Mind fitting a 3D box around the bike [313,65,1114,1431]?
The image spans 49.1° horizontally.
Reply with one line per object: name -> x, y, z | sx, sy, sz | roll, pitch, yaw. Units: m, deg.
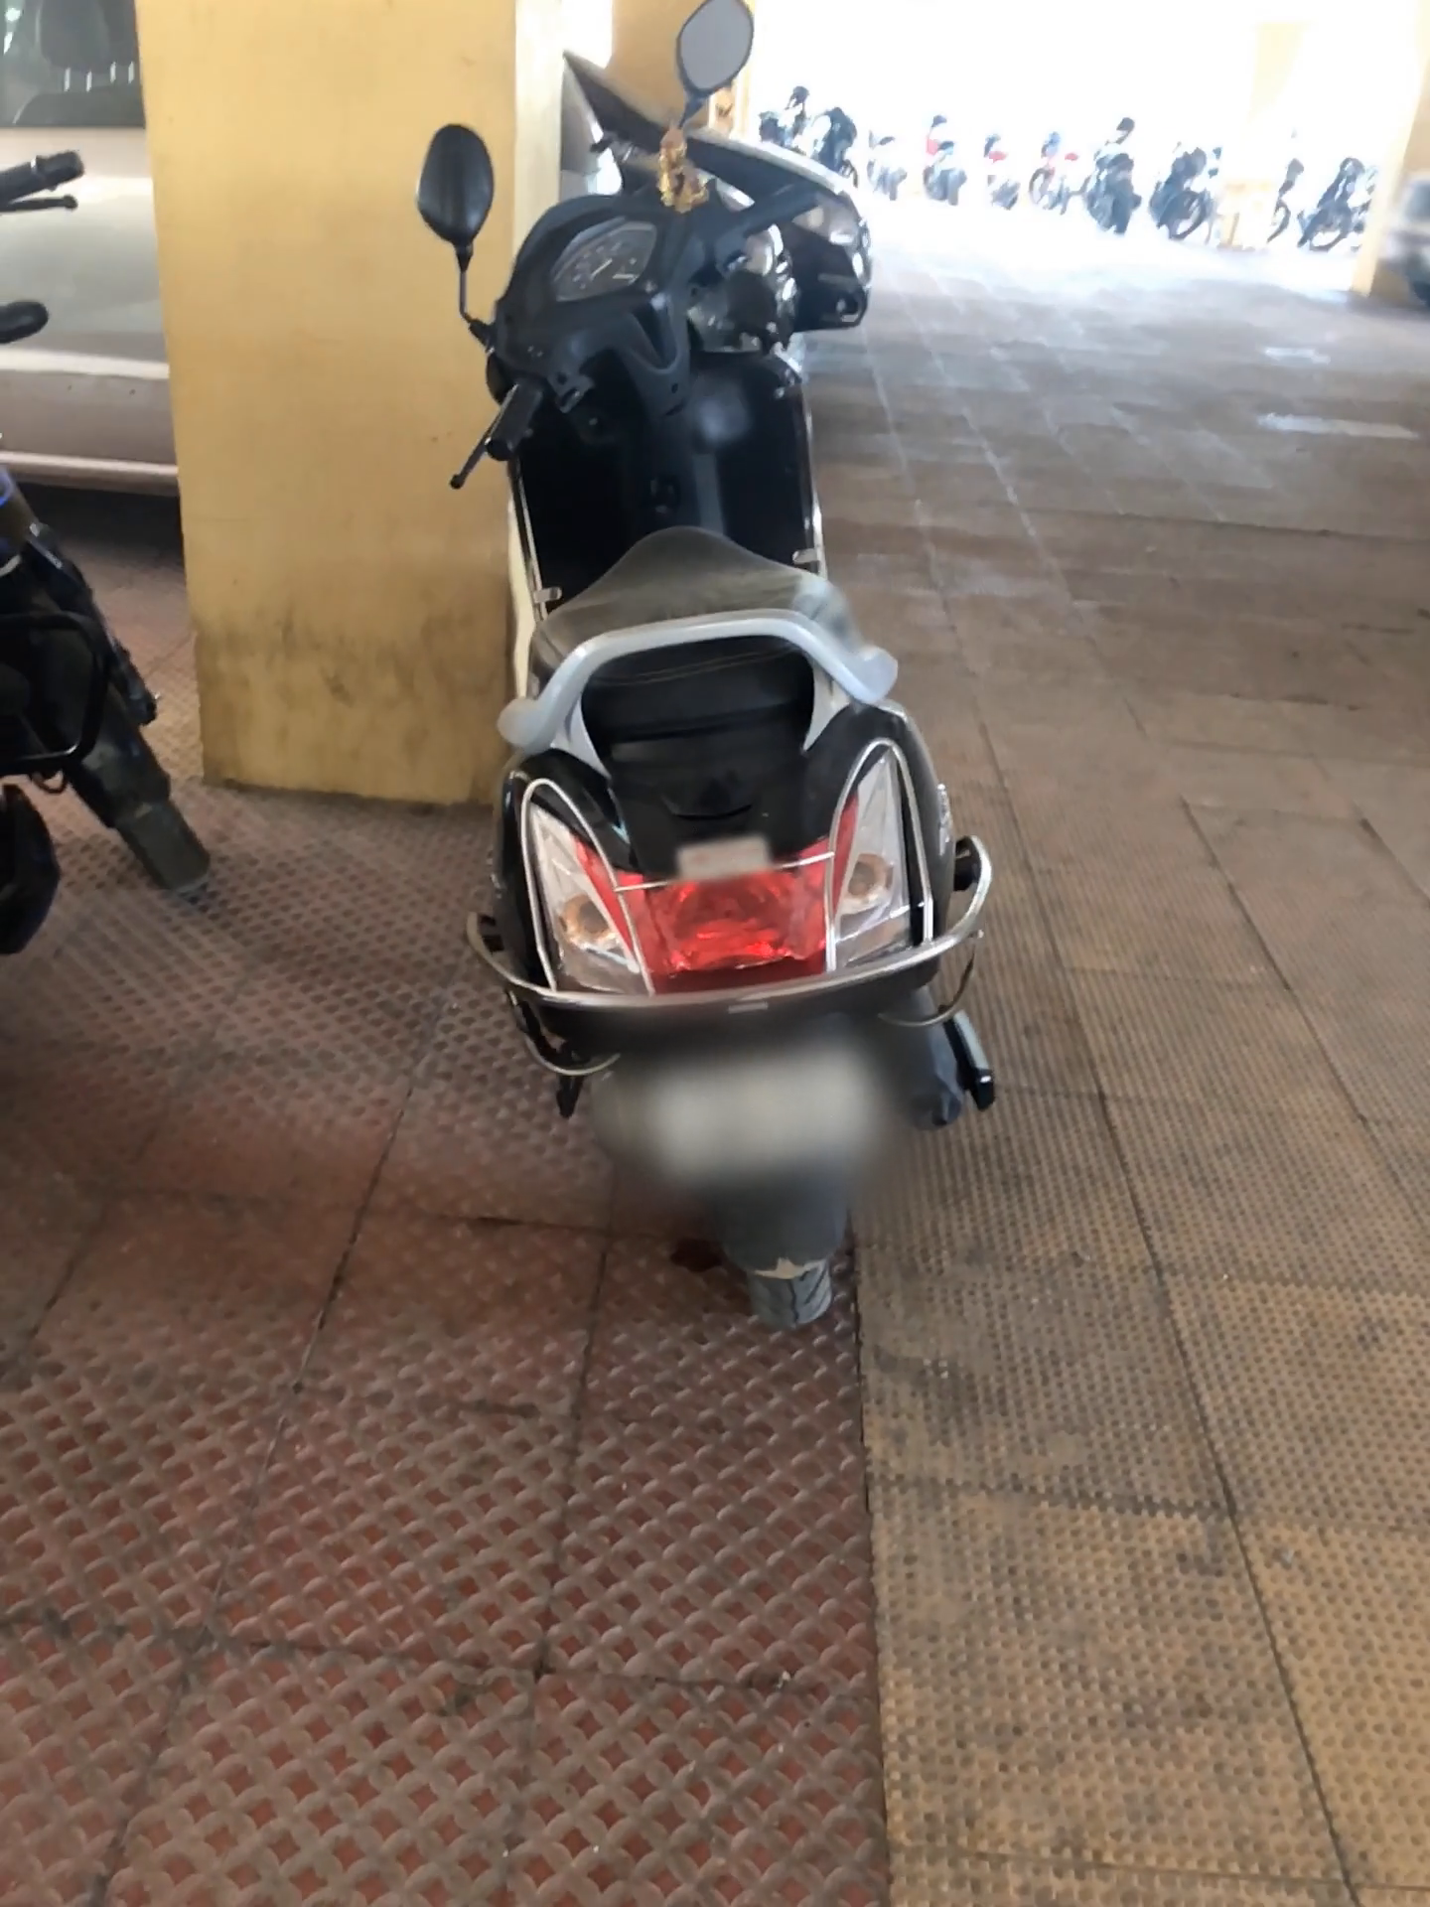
bike -> -0.184, -0.398, 2.046 | 0.608, 1.172, 1.449 | -2, 32, -13
